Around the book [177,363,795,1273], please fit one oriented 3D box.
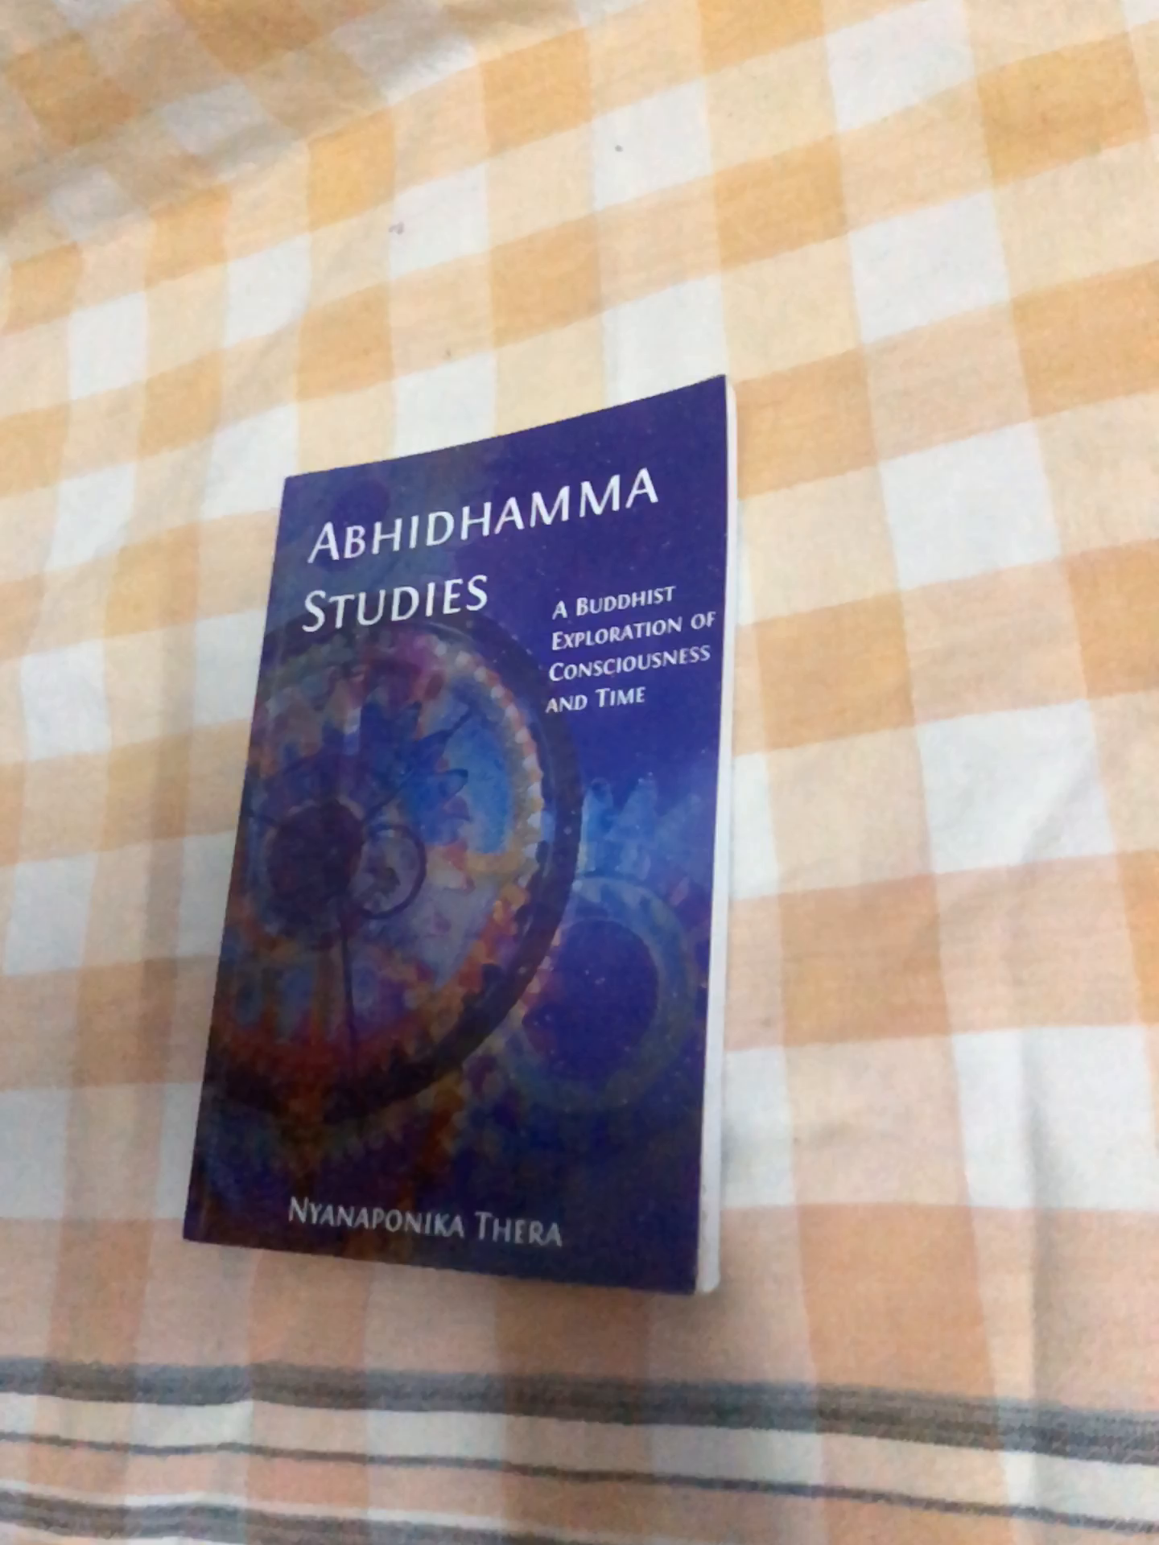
[{"bbox_3d":[-0.022,0.008,0.325,0.150,0.020,0.210,-5,72,24],"label":"book"}]
